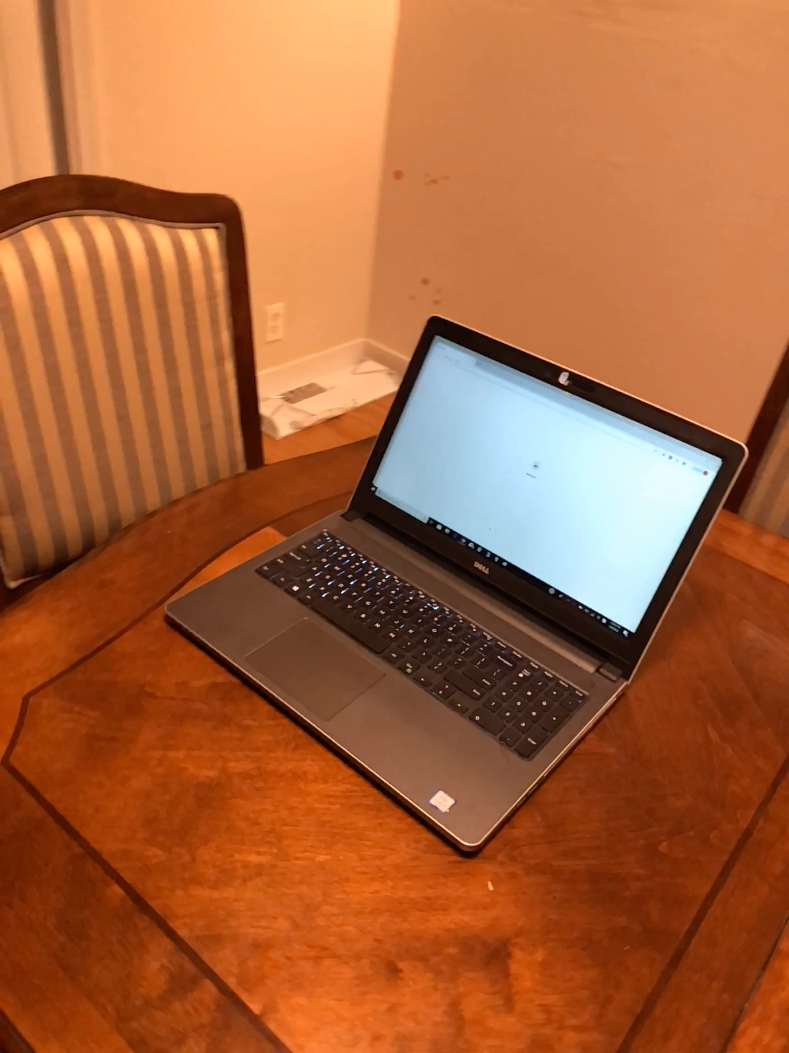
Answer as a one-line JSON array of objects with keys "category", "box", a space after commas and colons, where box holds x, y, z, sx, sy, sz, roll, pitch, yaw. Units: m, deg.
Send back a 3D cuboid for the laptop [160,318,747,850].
[{"category": "laptop", "box": [0.049, 0.007, 0.803, 0.370, 0.212, 0.361, 31, 41, 29]}]
